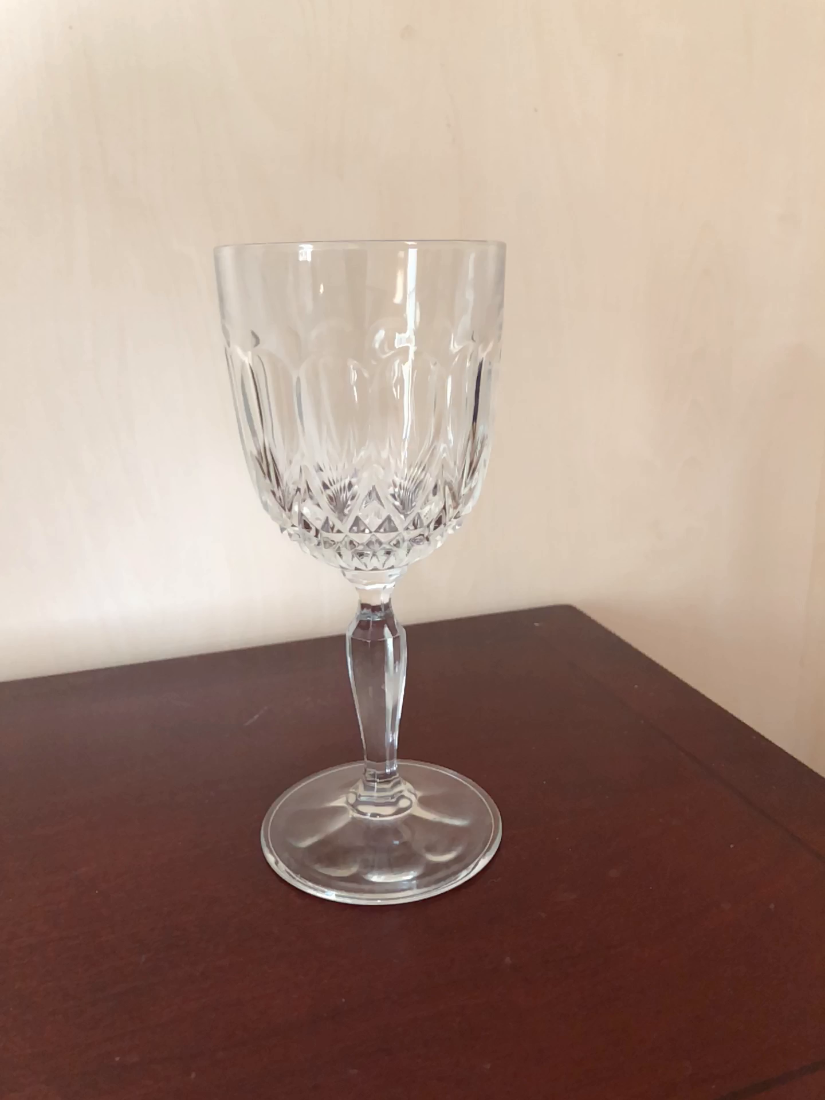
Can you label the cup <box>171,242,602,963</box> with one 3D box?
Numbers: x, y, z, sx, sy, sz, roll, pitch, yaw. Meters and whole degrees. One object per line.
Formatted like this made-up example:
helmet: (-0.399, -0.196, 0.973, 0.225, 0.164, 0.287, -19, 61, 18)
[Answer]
cup: (-0.012, 0.005, 0.271, 0.096, 0.179, 0.092, -1, 16, 0)
